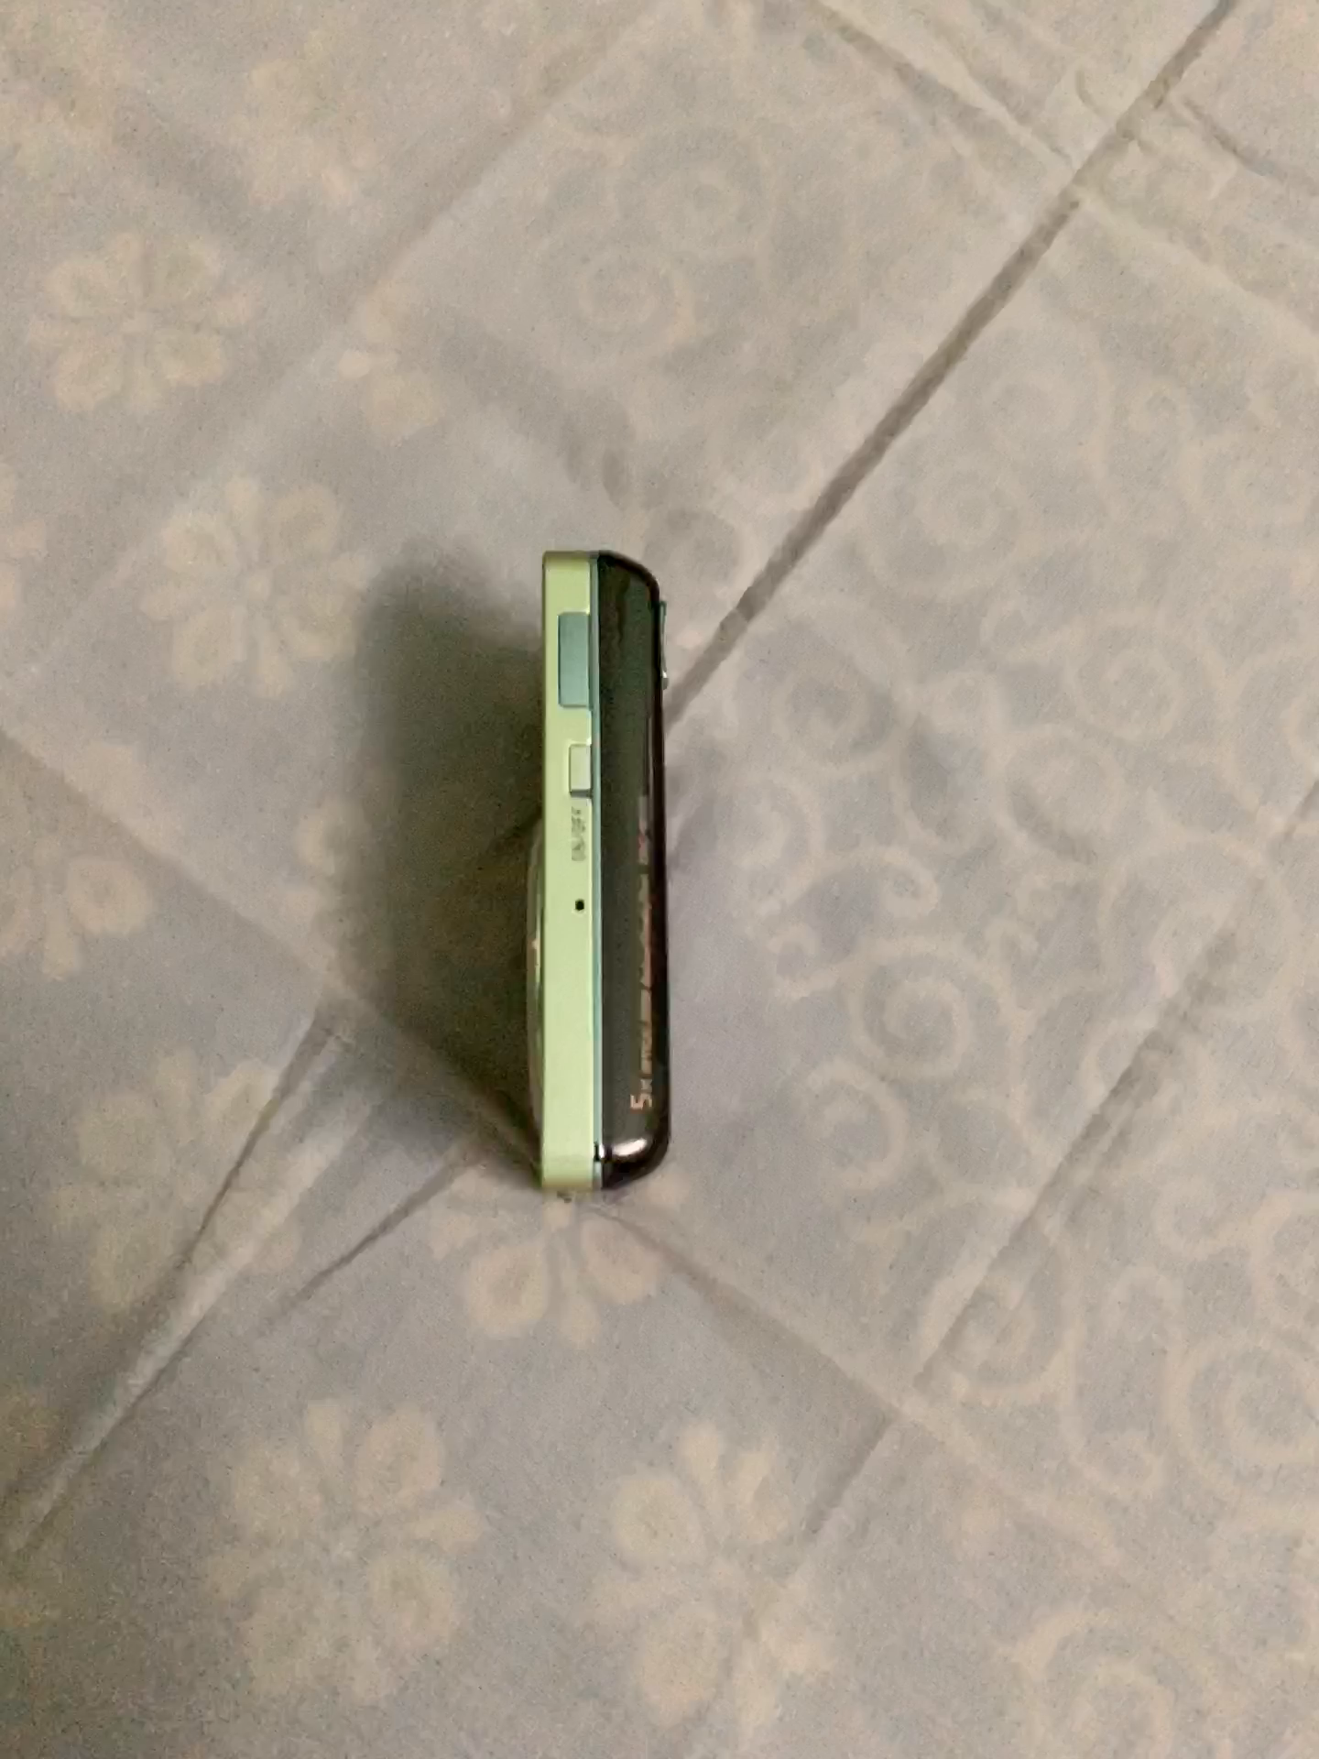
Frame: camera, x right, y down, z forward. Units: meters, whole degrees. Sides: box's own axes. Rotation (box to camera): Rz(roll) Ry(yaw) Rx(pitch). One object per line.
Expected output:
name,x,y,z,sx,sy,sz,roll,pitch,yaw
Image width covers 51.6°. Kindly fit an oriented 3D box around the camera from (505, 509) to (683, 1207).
camera,-0.010,0.001,0.200,0.021,0.060,0.088,0,74,-4
